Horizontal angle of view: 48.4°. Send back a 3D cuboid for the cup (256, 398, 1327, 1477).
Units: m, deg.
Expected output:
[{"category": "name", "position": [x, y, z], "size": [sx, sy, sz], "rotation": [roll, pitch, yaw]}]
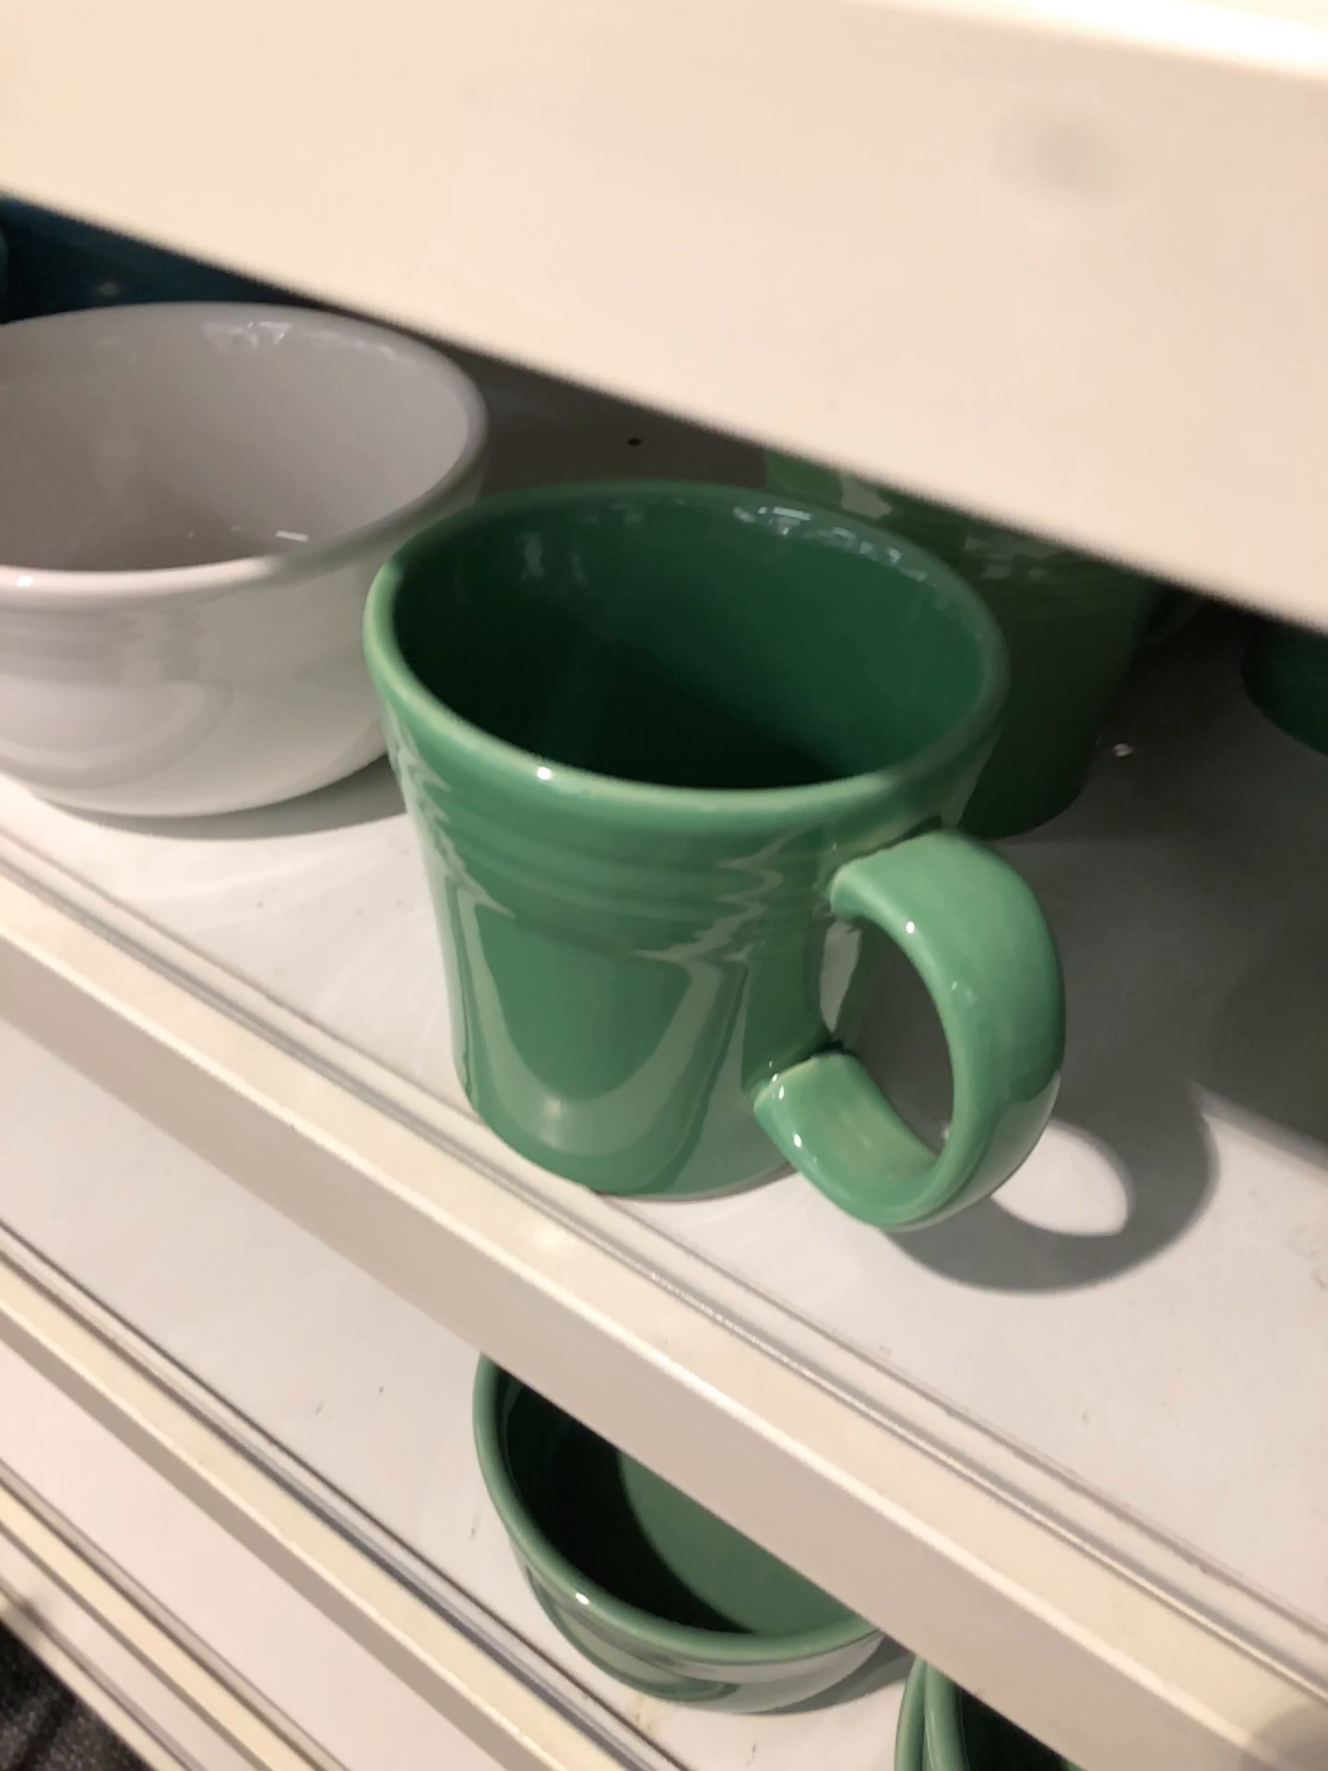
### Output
[{"category": "cup", "position": [0.017, -0.002, 0.261], "size": [0.107, 0.098, 0.134], "rotation": [-28, 50, -29]}]
